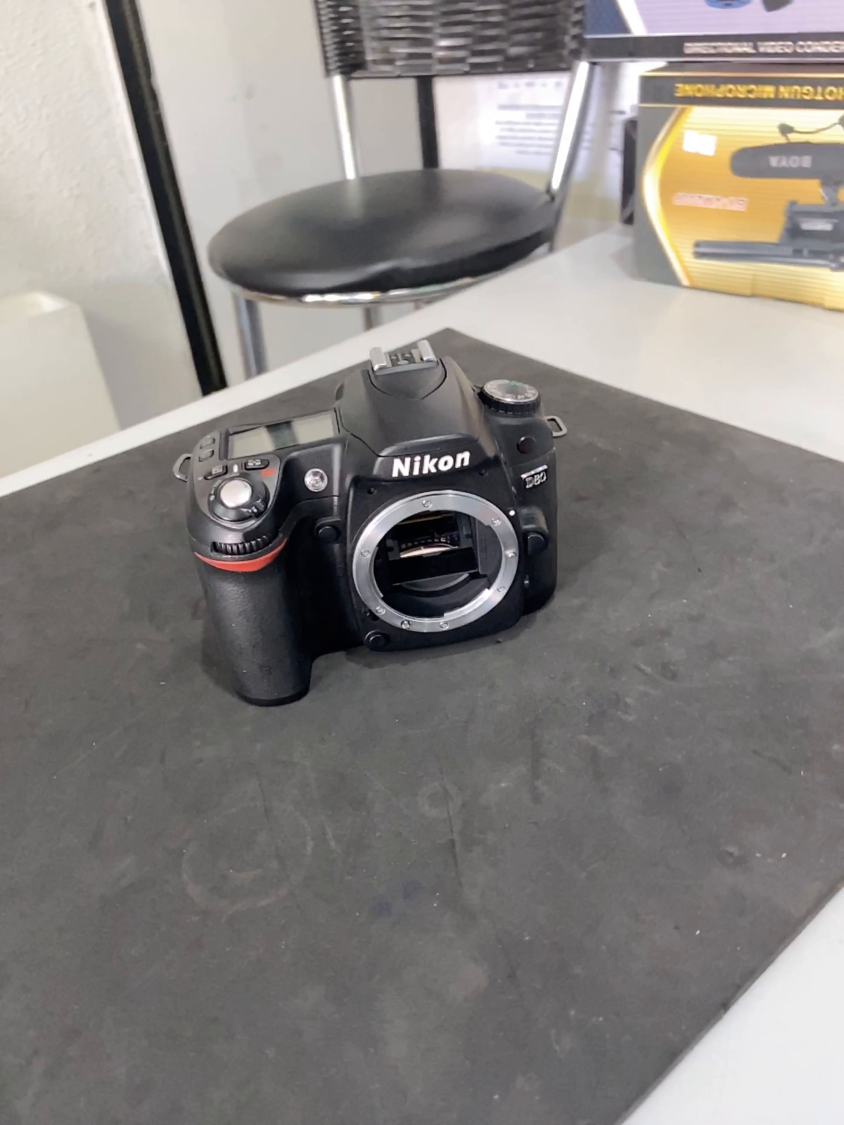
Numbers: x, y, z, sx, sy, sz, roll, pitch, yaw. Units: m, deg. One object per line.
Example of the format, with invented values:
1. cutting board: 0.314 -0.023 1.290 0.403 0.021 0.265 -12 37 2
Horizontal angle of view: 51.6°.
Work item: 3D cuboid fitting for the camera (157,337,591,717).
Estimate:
1. camera: -0.016 -0.017 0.326 0.135 0.088 0.084 -11 34 -6
